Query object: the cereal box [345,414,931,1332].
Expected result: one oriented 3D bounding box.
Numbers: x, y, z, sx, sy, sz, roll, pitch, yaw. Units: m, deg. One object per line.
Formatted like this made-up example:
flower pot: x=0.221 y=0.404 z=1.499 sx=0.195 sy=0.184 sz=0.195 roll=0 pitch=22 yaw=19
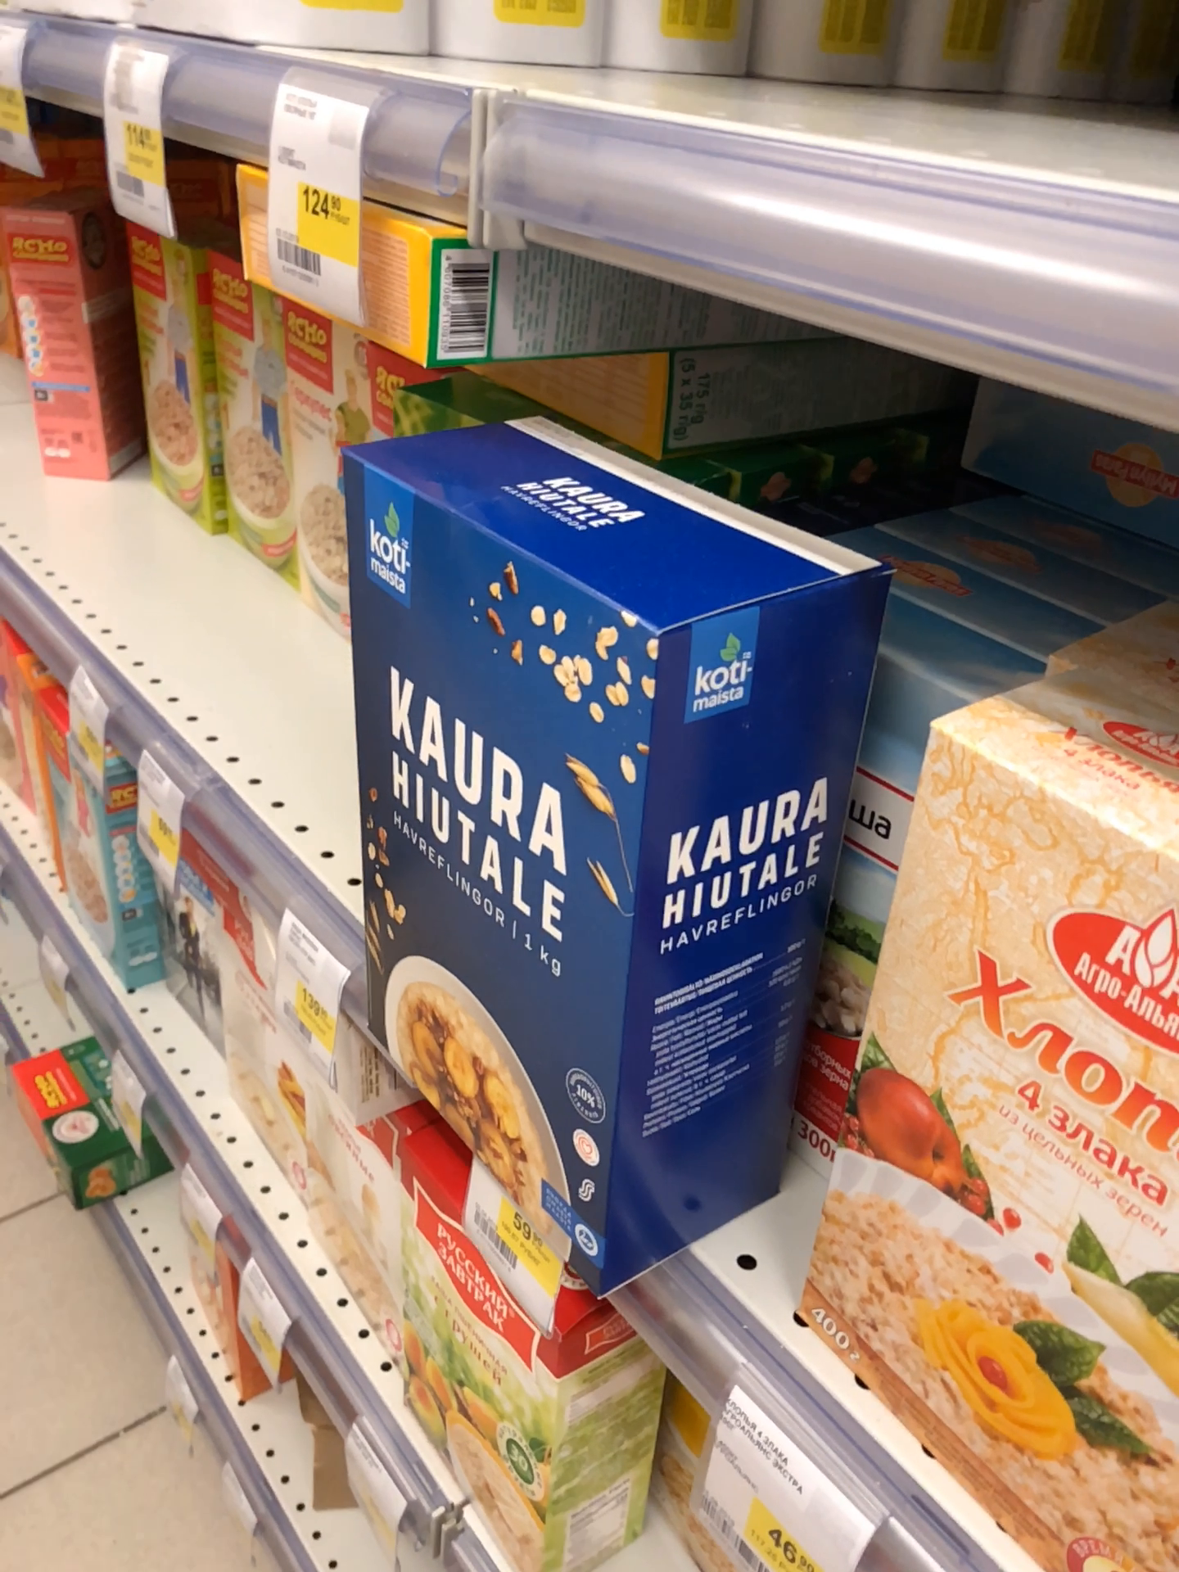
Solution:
cereal box: x=-0.001 y=0.022 z=0.405 sx=0.080 sy=0.229 sz=0.151 roll=-19 pitch=37 yaw=-34
